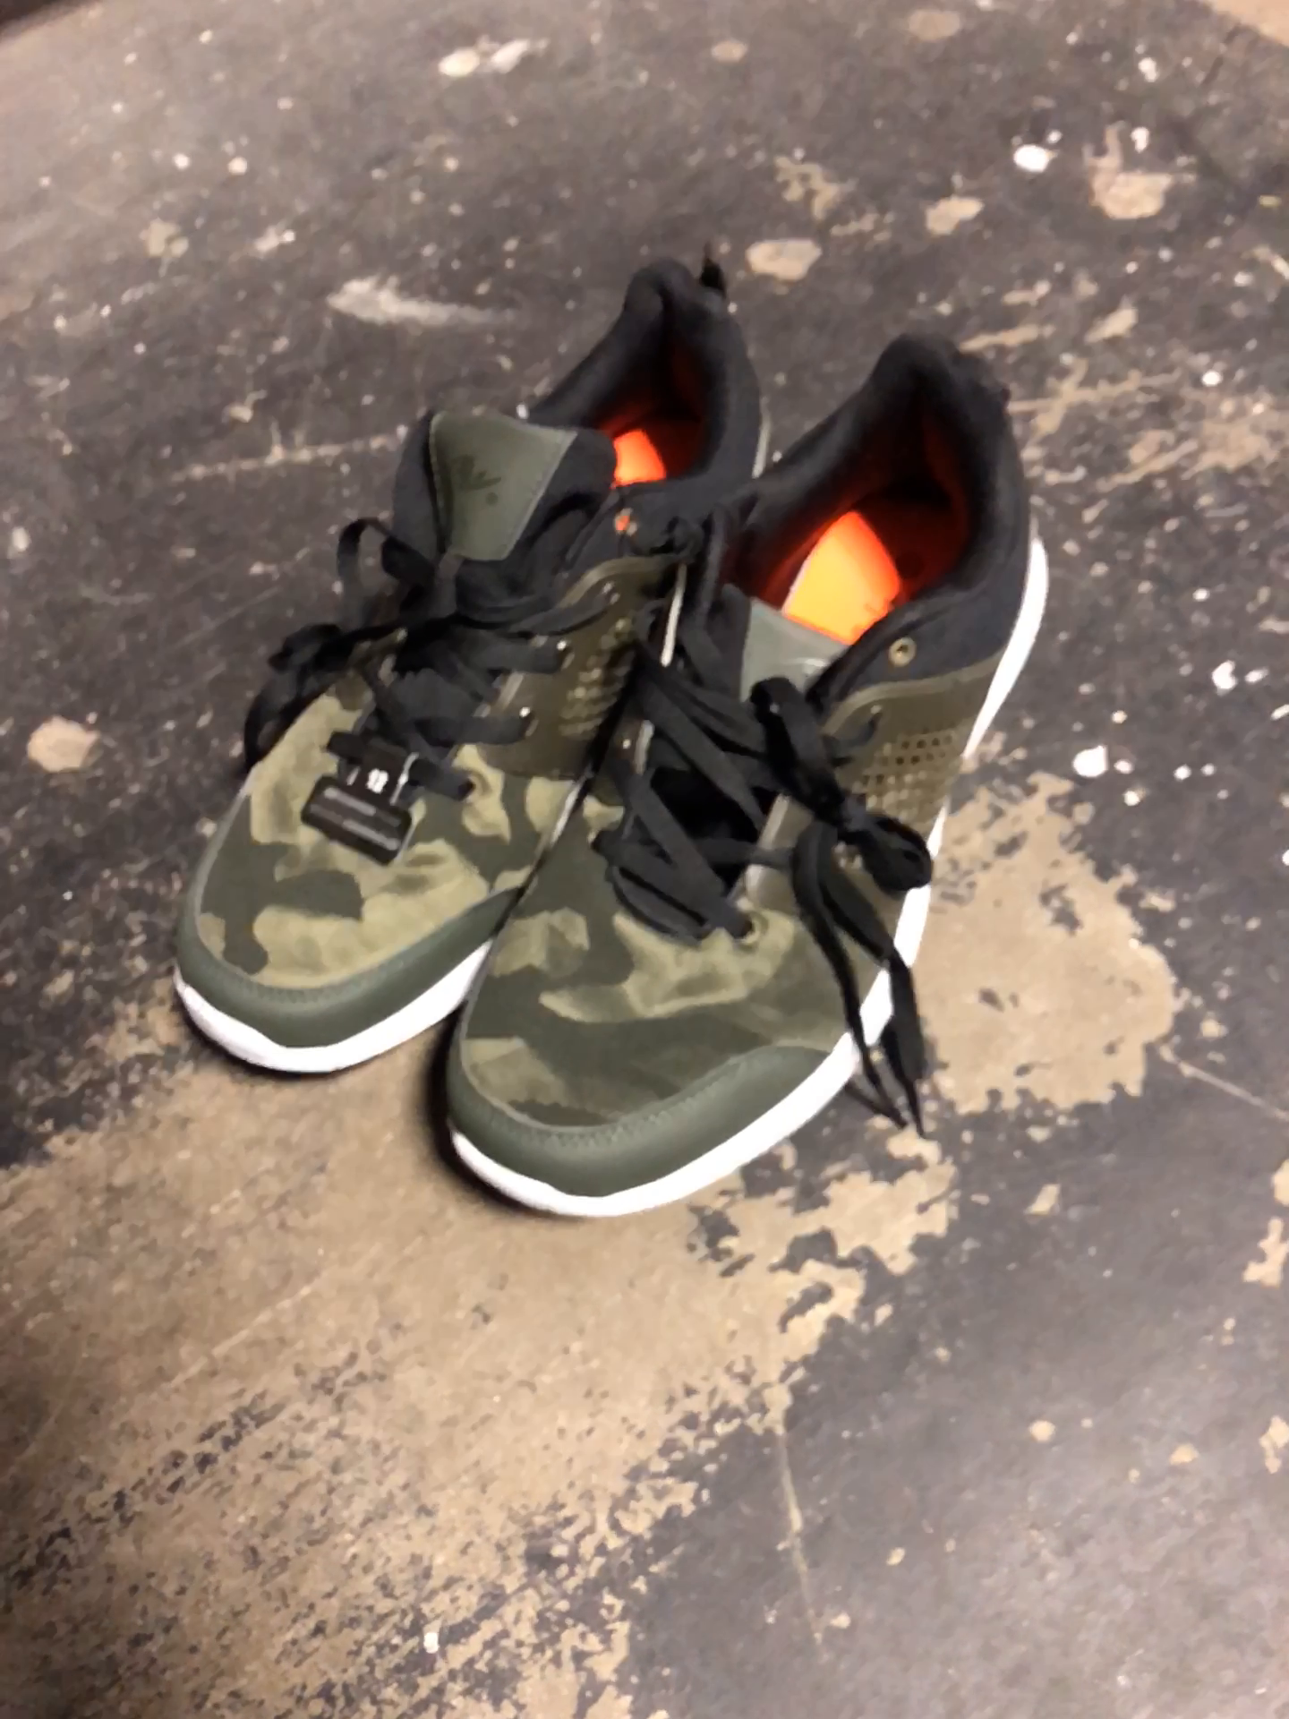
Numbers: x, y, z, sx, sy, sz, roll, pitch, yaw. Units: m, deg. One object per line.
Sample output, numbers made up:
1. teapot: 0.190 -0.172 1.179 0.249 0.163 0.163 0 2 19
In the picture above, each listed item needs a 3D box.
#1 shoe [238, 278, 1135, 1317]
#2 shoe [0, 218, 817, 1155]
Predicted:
1. shoe: 0.028 -0.026 0.432 0.110 0.129 0.271 27 65 21
2. shoe: -0.063 -0.070 0.497 0.110 0.119 0.301 27 65 21
